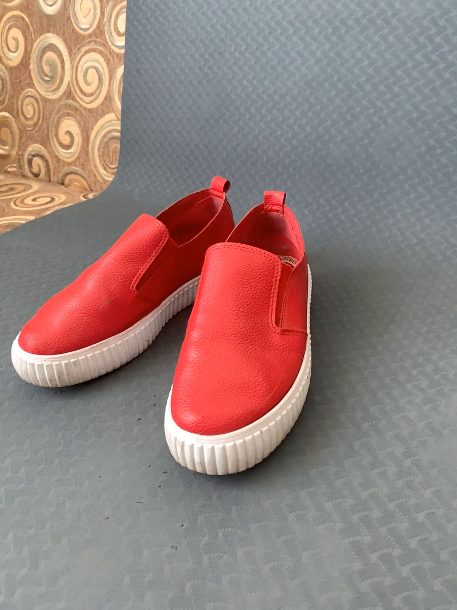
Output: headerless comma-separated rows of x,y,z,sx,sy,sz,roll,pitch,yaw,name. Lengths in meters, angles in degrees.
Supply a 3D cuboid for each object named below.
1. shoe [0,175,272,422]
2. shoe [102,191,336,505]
-0.076,-0.025,0.396,0.096,0.070,0.240,25,47,35,shoe
0.016,0.003,0.336,0.095,0.070,0.241,5,39,15,shoe
